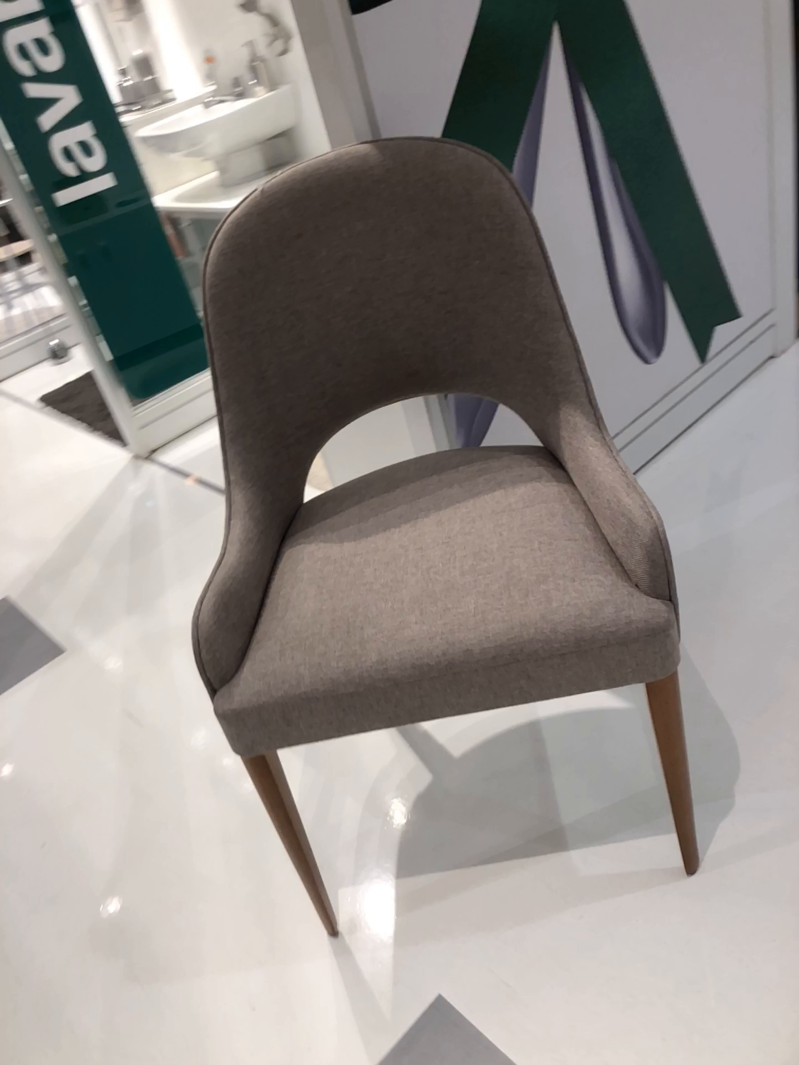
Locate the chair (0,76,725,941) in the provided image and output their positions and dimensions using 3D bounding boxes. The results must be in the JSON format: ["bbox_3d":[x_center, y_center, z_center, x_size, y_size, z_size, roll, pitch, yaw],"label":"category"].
[{"bbox_3d":[0.034,-0.025,1.198,0.570,0.893,0.615,-12,32,8],"label":"chair"}]
